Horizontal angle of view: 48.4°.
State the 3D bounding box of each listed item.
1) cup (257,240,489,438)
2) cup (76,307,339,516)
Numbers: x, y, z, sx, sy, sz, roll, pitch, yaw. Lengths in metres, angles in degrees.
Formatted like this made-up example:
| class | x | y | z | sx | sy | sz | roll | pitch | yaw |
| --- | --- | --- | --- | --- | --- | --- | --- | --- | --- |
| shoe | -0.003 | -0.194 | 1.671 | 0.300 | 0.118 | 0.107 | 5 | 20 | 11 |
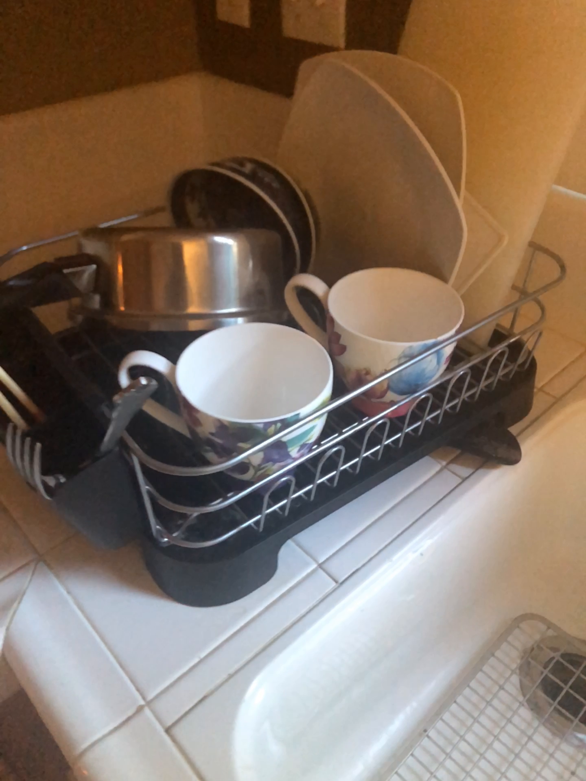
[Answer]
| class | x | y | z | sx | sy | sz | roll | pitch | yaw |
| --- | --- | --- | --- | --- | --- | --- | --- | --- | --- |
| cup | 0.068 | -0.050 | 0.561 | 0.160 | 0.089 | 0.111 | 16 | 43 | 20 |
| cup | -0.052 | 0.012 | 0.484 | 0.160 | 0.089 | 0.111 | 5 | 40 | 8 |
